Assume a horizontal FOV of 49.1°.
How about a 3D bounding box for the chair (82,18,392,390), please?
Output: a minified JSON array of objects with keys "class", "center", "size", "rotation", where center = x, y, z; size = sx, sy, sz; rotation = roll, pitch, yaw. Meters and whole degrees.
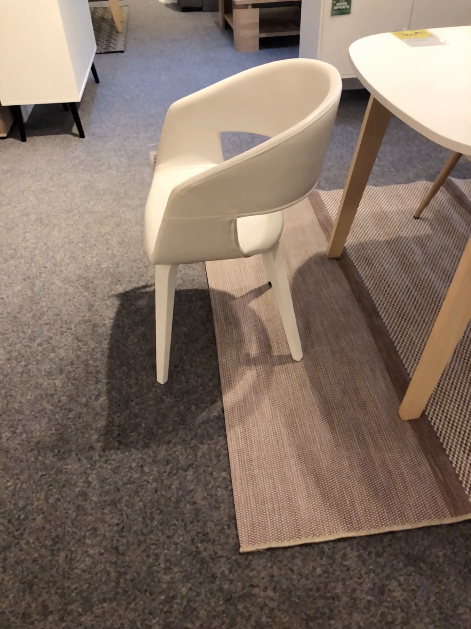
[{"class":"chair","center":[-0.017,-0.285,1.381],"size":[0.560,0.756,0.553],"rotation":[-6,42,-5]}]
